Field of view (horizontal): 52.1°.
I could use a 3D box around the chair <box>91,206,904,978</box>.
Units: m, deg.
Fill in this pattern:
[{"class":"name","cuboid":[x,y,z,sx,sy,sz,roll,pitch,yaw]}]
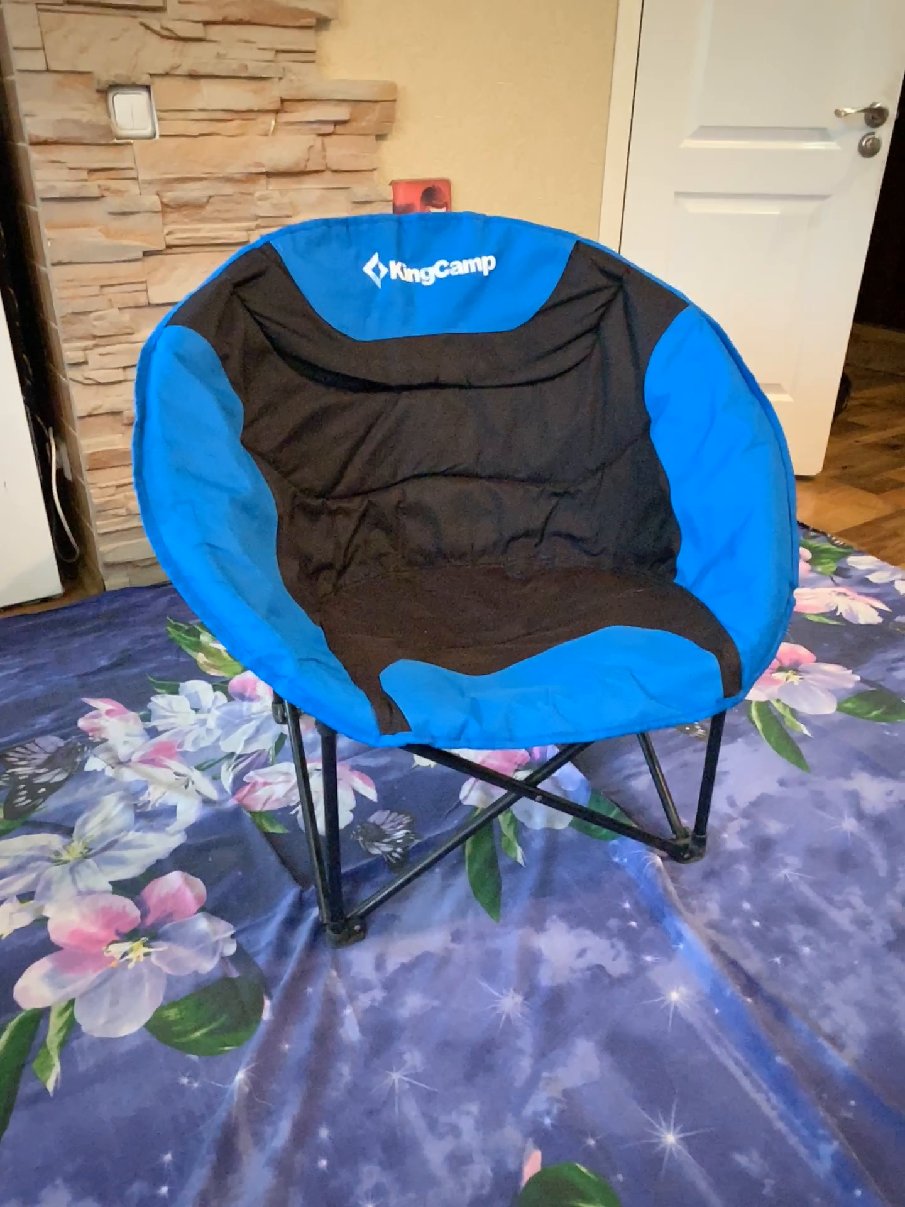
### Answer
[{"class":"chair","cuboid":[-0.005,-0.090,1.258,0.760,0.773,0.613,-7,28,-14]}]
